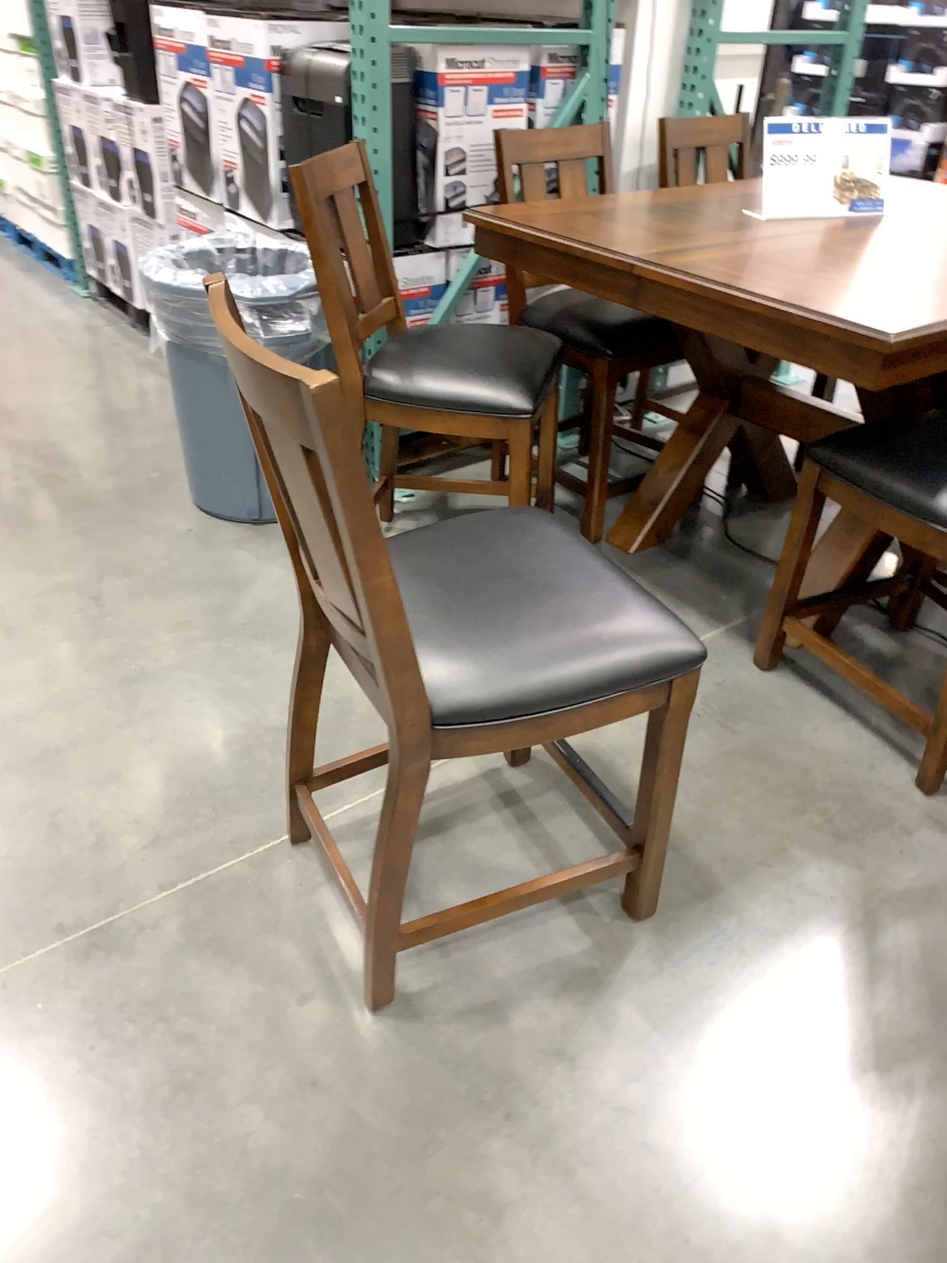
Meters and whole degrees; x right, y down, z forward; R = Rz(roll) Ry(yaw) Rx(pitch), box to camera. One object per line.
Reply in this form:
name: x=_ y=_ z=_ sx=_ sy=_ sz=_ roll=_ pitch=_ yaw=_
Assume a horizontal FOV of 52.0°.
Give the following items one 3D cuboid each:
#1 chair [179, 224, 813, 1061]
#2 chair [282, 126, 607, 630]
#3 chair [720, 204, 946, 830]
chair: x=-0.017 y=0.002 z=1.457 sx=0.588 sy=1.021 sz=0.527 roll=-15 pitch=37 yaw=-25
chair: x=-0.057 y=-0.623 z=2.393 sx=0.587 sy=1.021 sz=0.547 roll=10 pitch=34 yaw=10
chair: x=1.017 y=-0.253 z=1.895 sx=0.655 sy=0.952 sz=0.600 roll=-14 pitch=37 yaw=-24
